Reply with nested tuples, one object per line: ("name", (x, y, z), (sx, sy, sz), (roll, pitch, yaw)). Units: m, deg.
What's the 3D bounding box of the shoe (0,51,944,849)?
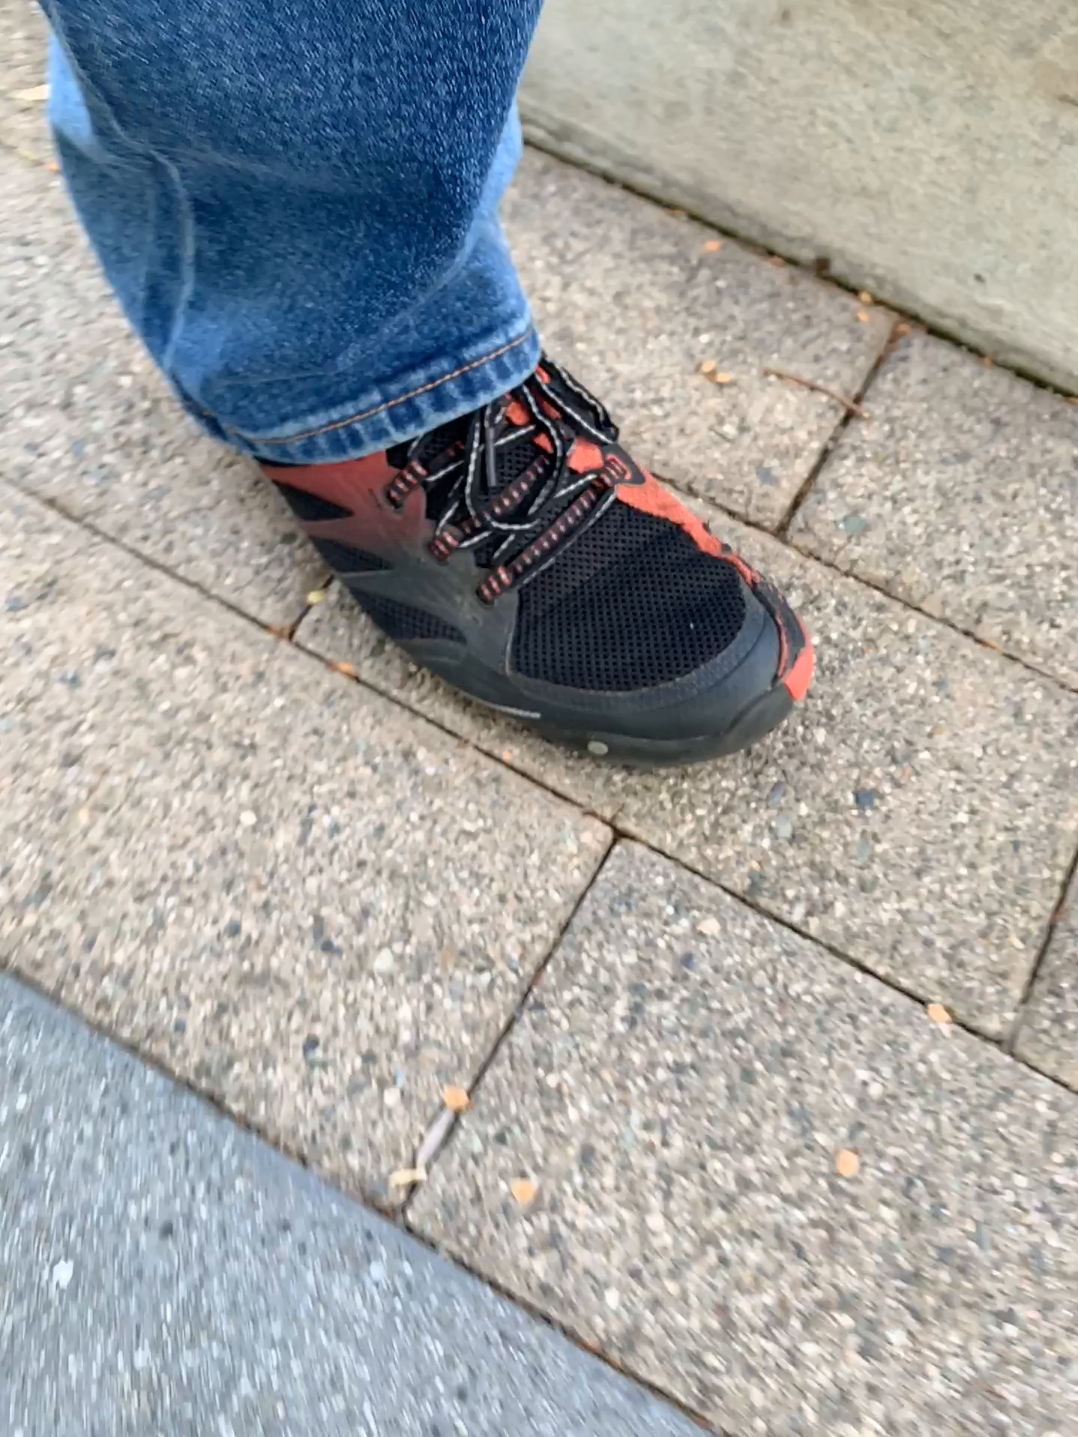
("shoe", (-0.032, -0.107, 0.408), (0.306, 0.080, 0.137), (36, 65, 12))
